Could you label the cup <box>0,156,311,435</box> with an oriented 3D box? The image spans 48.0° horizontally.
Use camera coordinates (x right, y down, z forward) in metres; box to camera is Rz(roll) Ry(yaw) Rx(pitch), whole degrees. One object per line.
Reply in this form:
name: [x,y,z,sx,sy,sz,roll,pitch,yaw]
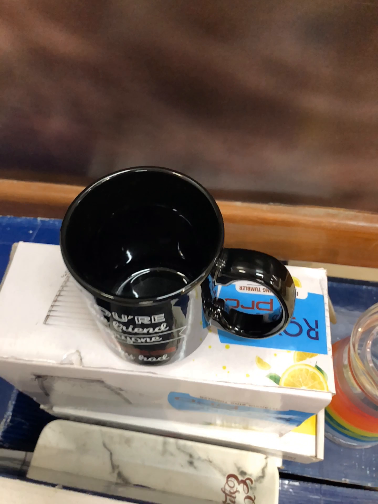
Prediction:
cup: [-0.013,0.027,0.225,0.130,0.110,0.090,7,57,8]
